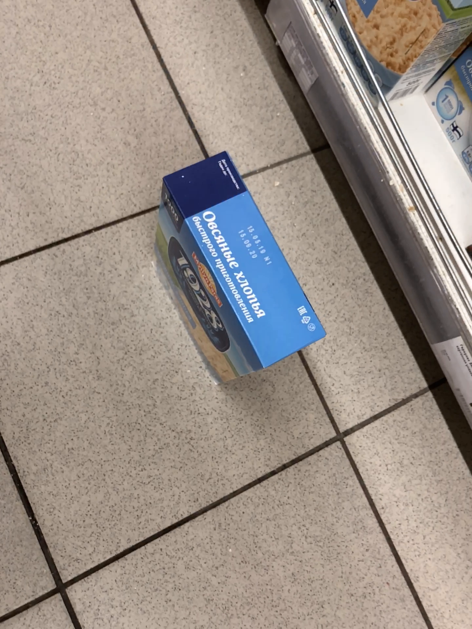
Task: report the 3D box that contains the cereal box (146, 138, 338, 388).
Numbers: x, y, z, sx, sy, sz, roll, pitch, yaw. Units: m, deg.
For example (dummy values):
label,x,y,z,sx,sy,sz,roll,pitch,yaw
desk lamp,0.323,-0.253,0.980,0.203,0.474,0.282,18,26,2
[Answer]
label,x,y,z,sx,sy,sz,roll,pitch,yaw
cereal box,-0.012,-0.023,0.440,0.060,0.200,0.150,-27,86,-14
